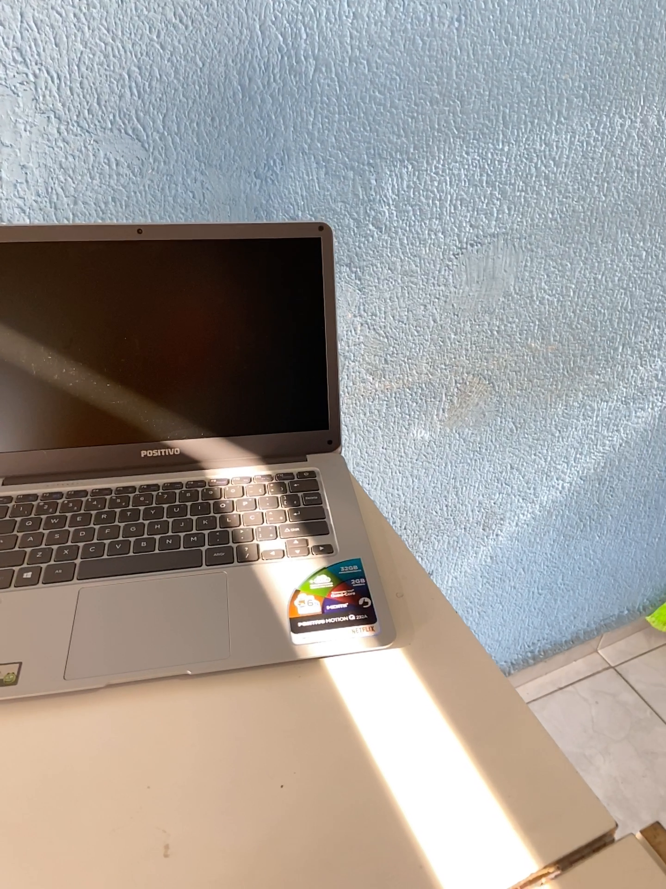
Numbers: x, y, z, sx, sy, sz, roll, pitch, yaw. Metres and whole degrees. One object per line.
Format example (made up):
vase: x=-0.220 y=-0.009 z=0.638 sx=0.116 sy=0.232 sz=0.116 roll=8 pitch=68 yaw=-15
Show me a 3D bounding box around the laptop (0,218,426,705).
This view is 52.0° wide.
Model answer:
laptop: x=-0.145 y=-0.023 z=0.515 sx=0.333 sy=0.189 sz=0.313 roll=-4 pitch=36 yaw=-10
